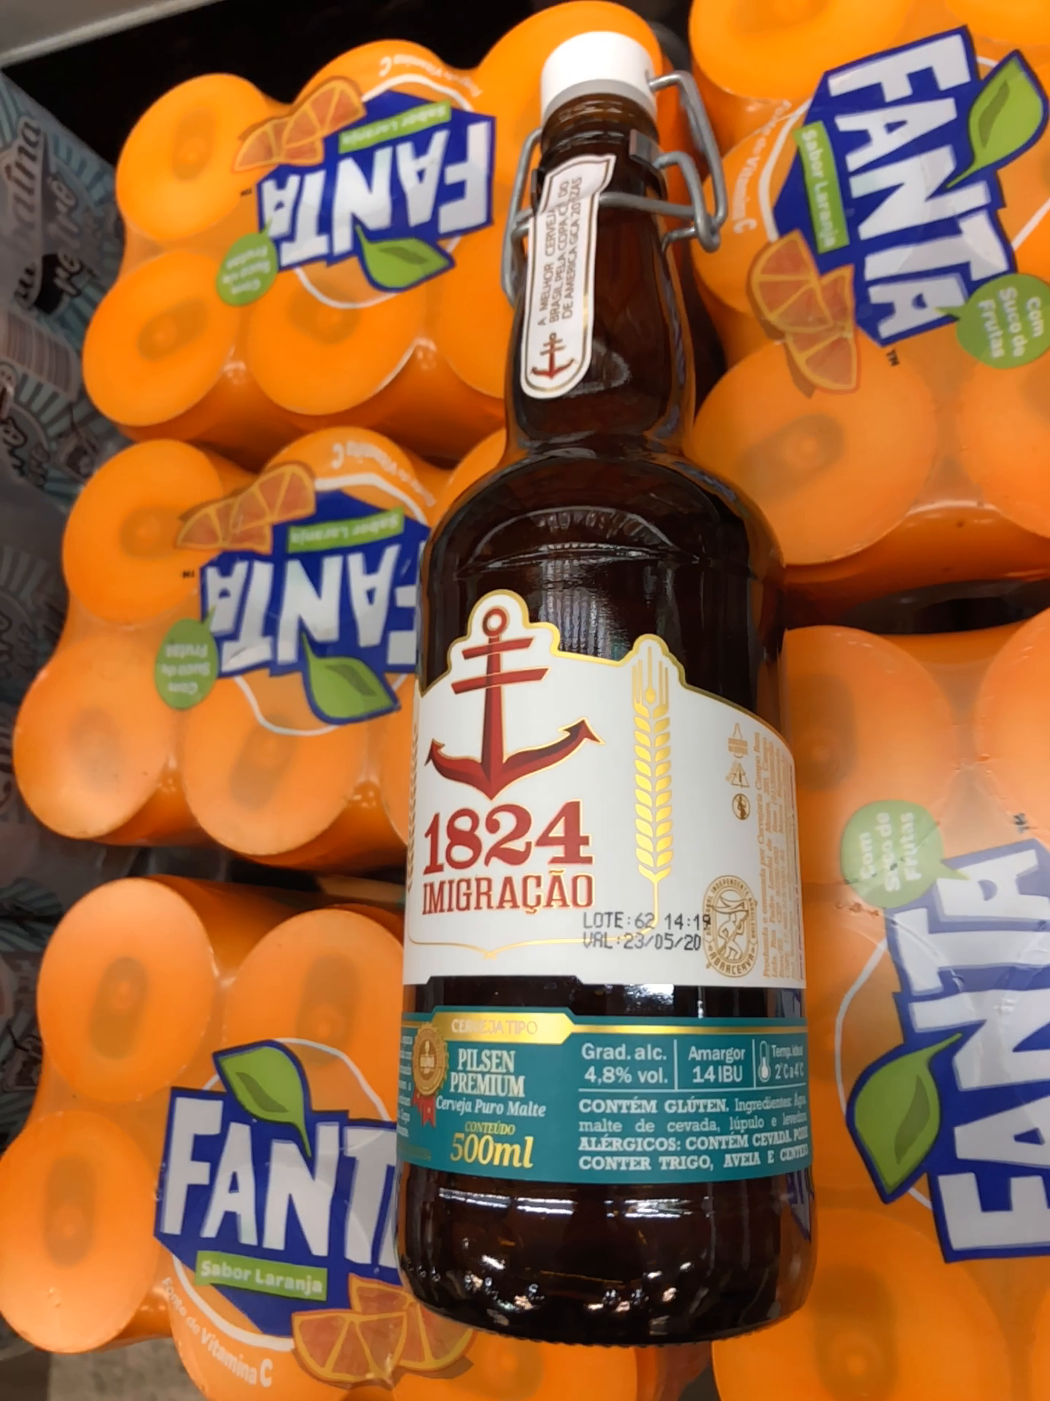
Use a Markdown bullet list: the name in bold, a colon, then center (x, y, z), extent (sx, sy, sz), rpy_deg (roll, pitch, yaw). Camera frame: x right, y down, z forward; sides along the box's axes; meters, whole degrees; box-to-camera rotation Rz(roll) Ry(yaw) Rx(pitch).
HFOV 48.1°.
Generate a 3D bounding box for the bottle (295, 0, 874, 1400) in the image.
- **bottle**: center (0.011, -0.024, 0.213), extent (0.080, 0.050, 0.250), rpy_deg (-5, 77, 21)
